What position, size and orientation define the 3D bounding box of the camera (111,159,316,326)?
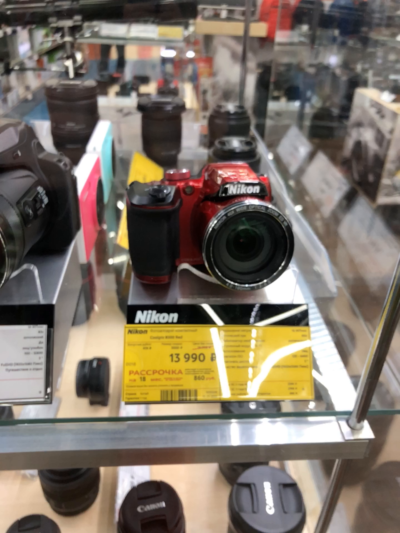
[{"bbox_3d":[0.004,-0.022,0.328,0.120,0.076,0.111,0,32,-4],"label":"camera"}]
